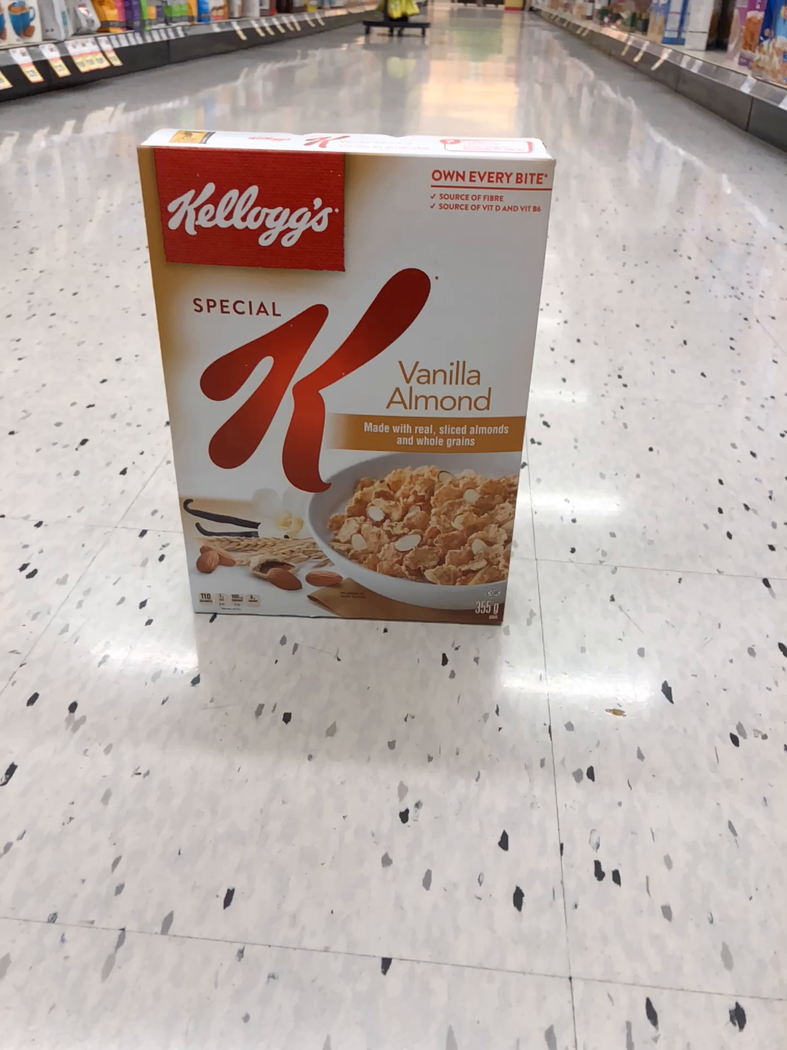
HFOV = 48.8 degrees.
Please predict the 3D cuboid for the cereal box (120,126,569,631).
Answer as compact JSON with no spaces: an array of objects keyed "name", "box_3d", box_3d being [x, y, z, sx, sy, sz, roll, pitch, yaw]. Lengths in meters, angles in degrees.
[{"name":"cereal box","box_3d":[-0.026,-0.068,0.470,0.200,0.258,0.050,3,29,1]}]
